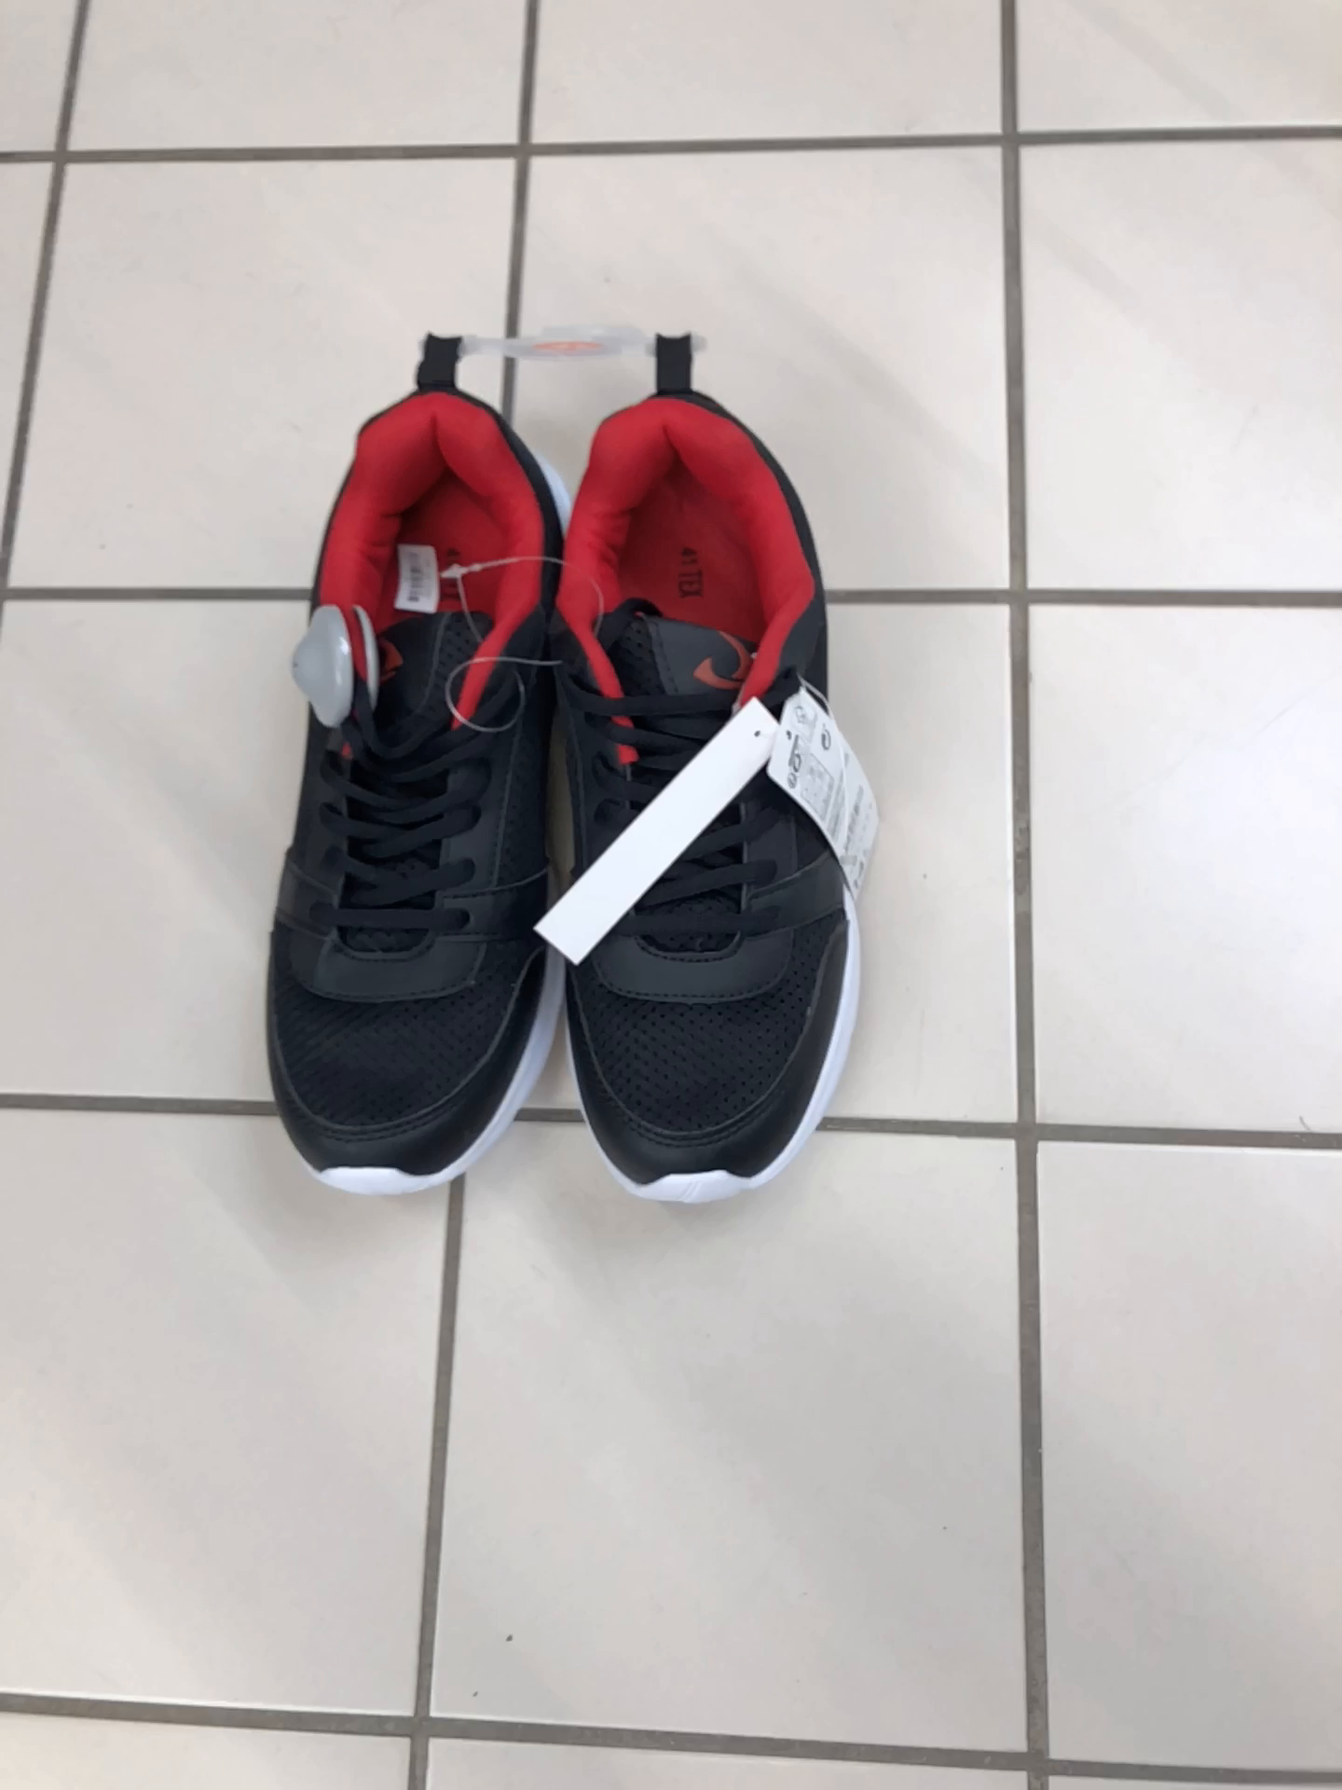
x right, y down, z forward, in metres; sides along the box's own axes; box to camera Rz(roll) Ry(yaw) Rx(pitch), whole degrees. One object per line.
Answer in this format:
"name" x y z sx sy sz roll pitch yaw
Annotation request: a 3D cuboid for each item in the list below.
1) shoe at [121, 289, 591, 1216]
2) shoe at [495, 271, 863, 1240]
"shoe" -0.093 -0.039 0.502 0.100 0.130 0.285 1 77 5
"shoe" 0.005 -0.037 0.498 0.100 0.130 0.295 -2 77 4
